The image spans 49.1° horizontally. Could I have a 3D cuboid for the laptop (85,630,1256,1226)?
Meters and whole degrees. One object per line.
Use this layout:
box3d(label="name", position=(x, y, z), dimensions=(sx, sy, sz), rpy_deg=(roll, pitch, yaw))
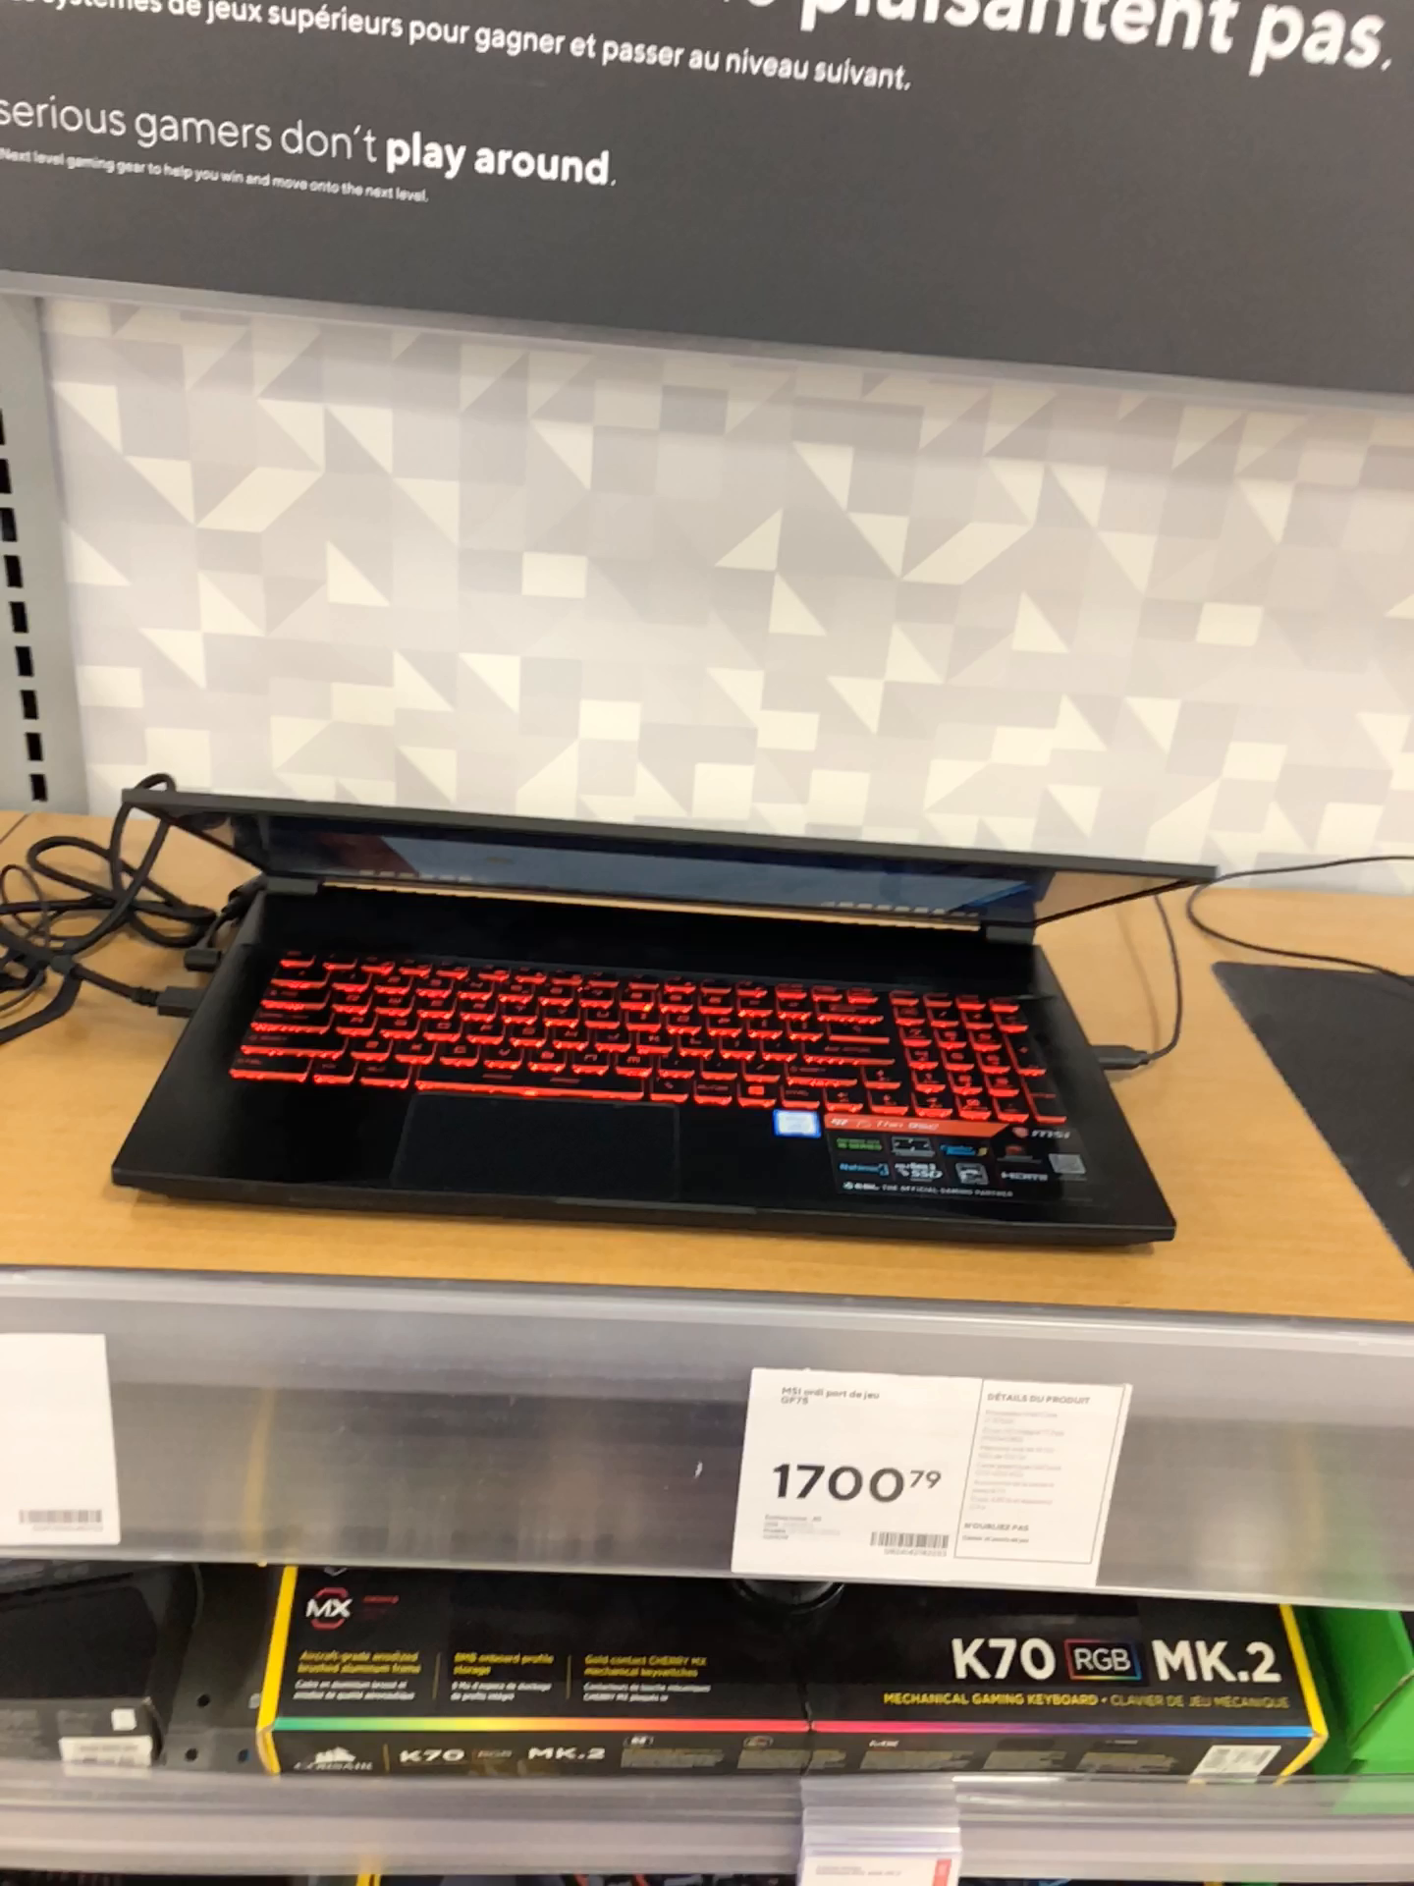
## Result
box3d(label="laptop", position=(-0.016, -0.019, 0.659), dimensions=(0.392, 0.133, 0.249), rpy_deg=(3, 27, -4))
